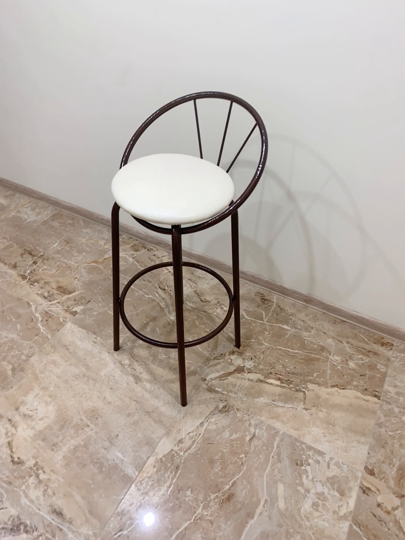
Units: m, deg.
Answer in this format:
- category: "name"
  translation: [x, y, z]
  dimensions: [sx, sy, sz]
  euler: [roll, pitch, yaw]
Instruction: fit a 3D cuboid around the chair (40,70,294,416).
- category: "chair"
  translation: [-0.084, -0.050, 1.203]
  dimensions: [0.401, 0.835, 0.401]
  euler: [31, 50, 28]
